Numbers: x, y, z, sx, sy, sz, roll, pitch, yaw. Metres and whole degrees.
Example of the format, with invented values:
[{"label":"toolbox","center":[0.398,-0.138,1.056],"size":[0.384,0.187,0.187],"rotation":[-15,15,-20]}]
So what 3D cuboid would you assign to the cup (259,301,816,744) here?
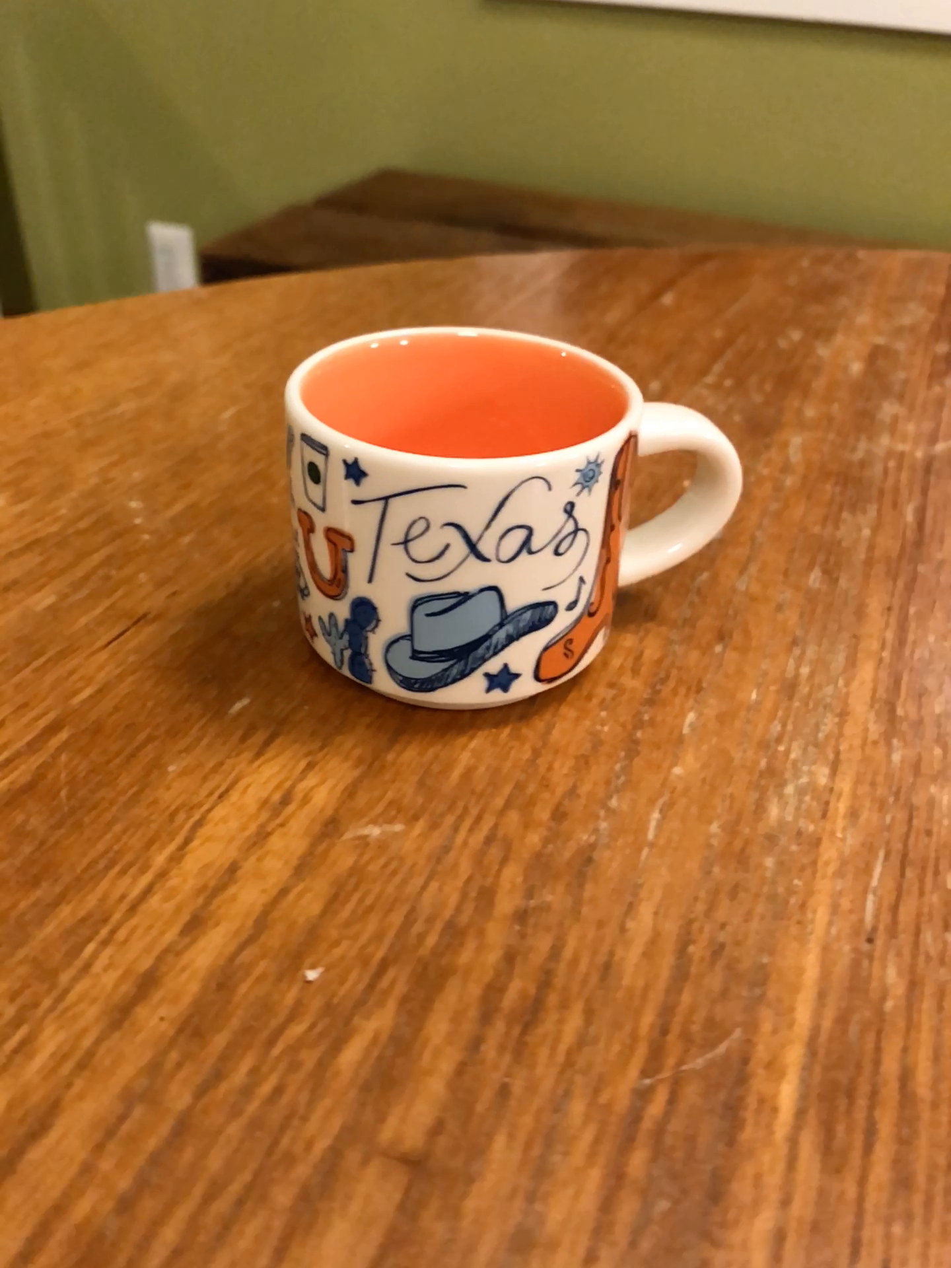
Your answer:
[{"label":"cup","center":[0.005,-0.024,0.186],"size":[0.076,0.046,0.064],"rotation":[-6,36,-12]}]
